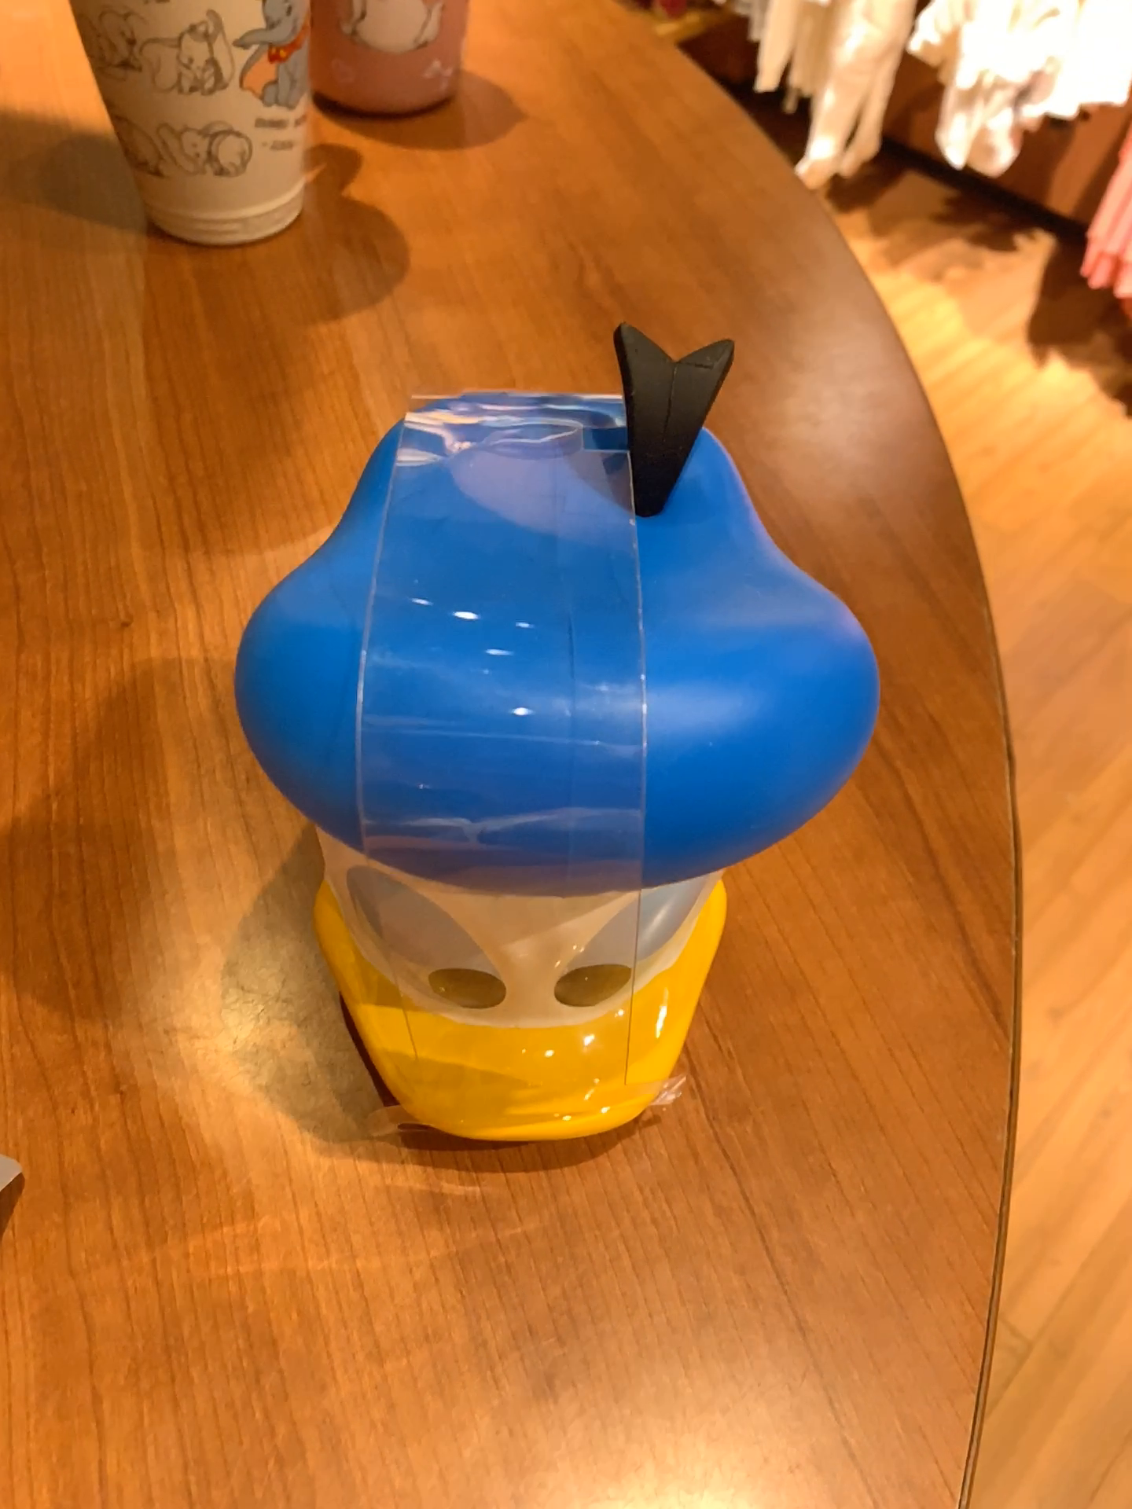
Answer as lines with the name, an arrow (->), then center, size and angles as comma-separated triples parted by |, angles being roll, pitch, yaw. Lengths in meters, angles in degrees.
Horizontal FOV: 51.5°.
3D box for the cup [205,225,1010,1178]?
cup -> 0.000, -0.005, 0.249 | 0.105, 0.132, 0.151 | 2, 56, -4
